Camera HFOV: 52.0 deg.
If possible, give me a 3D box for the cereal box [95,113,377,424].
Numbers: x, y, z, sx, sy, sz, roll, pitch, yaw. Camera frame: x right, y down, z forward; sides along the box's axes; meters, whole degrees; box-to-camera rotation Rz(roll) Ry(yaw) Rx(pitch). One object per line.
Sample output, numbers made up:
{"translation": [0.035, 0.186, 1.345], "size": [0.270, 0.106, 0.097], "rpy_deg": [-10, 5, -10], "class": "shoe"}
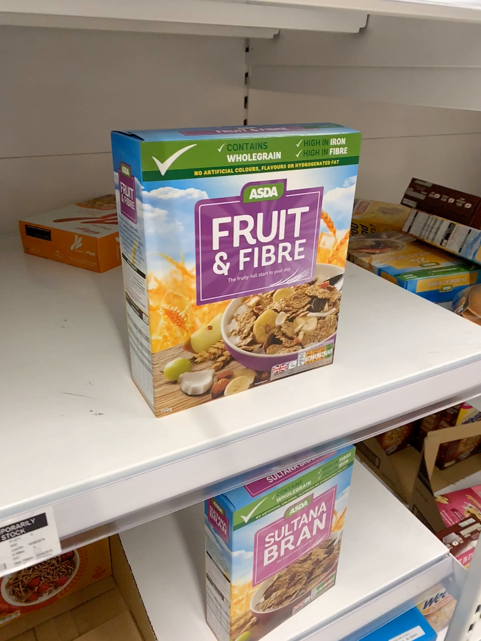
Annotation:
{"translation": [0.002, -0.061, 0.491], "size": [0.241, 0.258, 0.080], "rpy_deg": [-14, 29, -26], "class": "cereal box"}
